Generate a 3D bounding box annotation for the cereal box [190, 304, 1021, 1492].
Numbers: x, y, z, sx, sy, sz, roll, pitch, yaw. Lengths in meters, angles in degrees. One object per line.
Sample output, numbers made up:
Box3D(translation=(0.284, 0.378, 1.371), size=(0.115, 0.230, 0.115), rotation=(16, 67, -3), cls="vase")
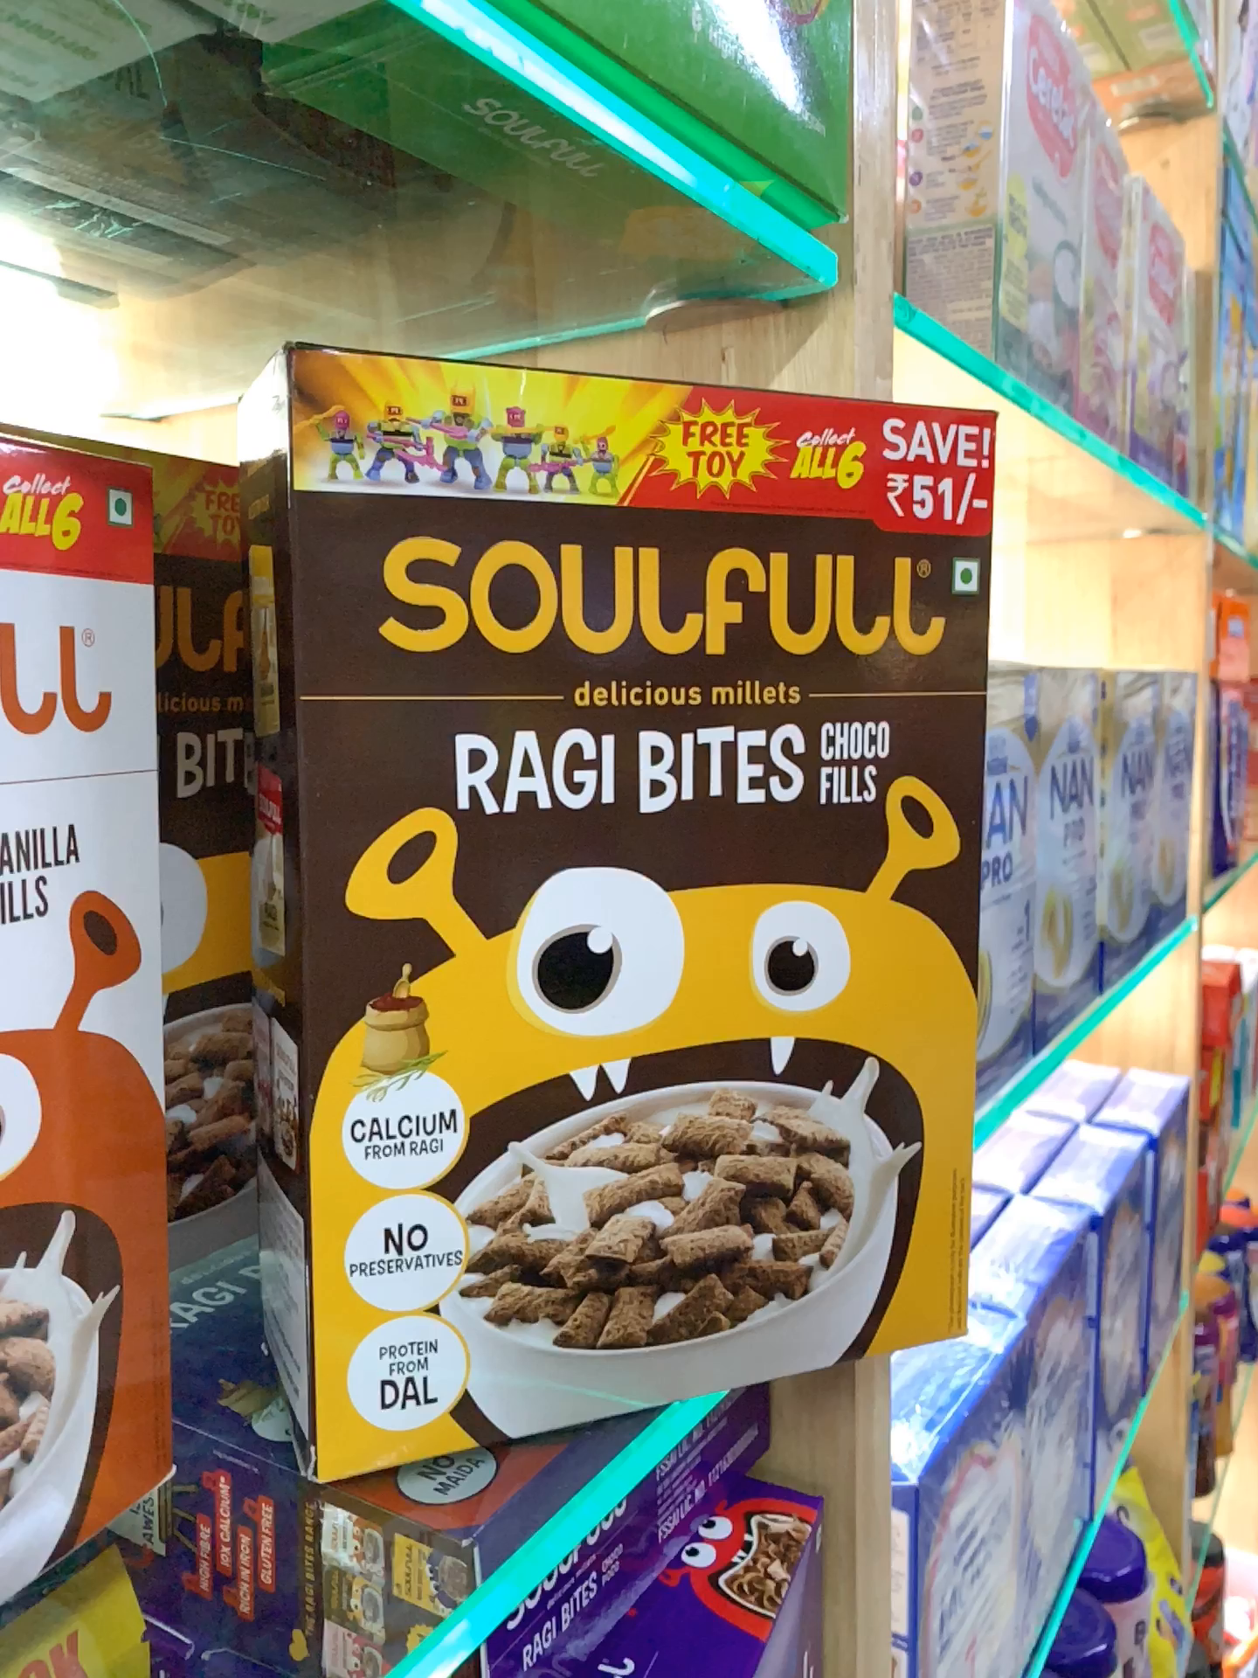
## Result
Box3D(translation=(-0.003, 0.009, 0.325), size=(0.190, 0.239, 0.060), rotation=(-3, 7, -23), cls="cereal box")
